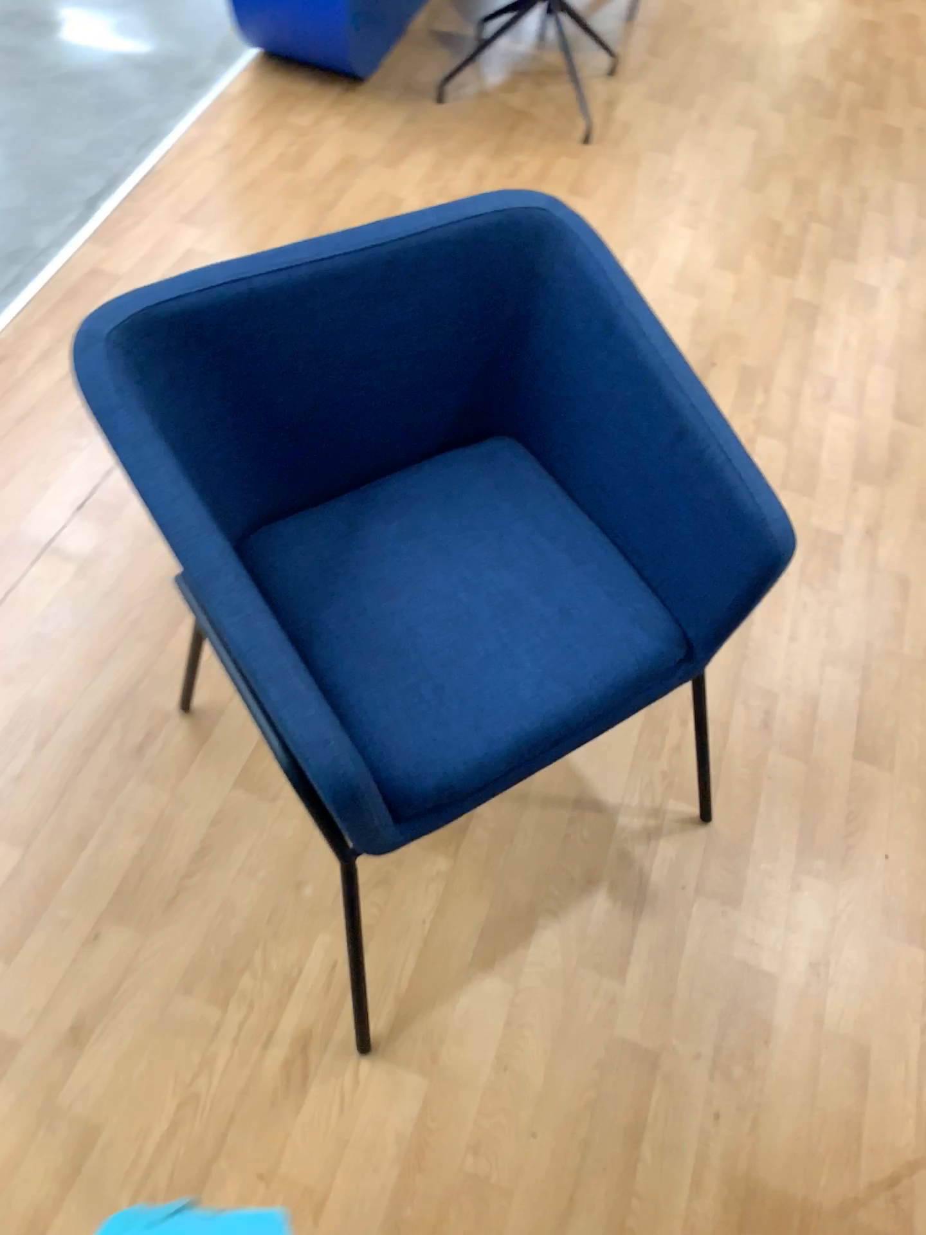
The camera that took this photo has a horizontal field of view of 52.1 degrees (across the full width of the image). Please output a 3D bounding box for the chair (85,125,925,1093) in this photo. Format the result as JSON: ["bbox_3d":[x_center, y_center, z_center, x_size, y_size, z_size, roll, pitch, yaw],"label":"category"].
[{"bbox_3d":[0.079,-0.025,1.179,0.702,0.686,0.753,-24,62,-24],"label":"chair"}]
